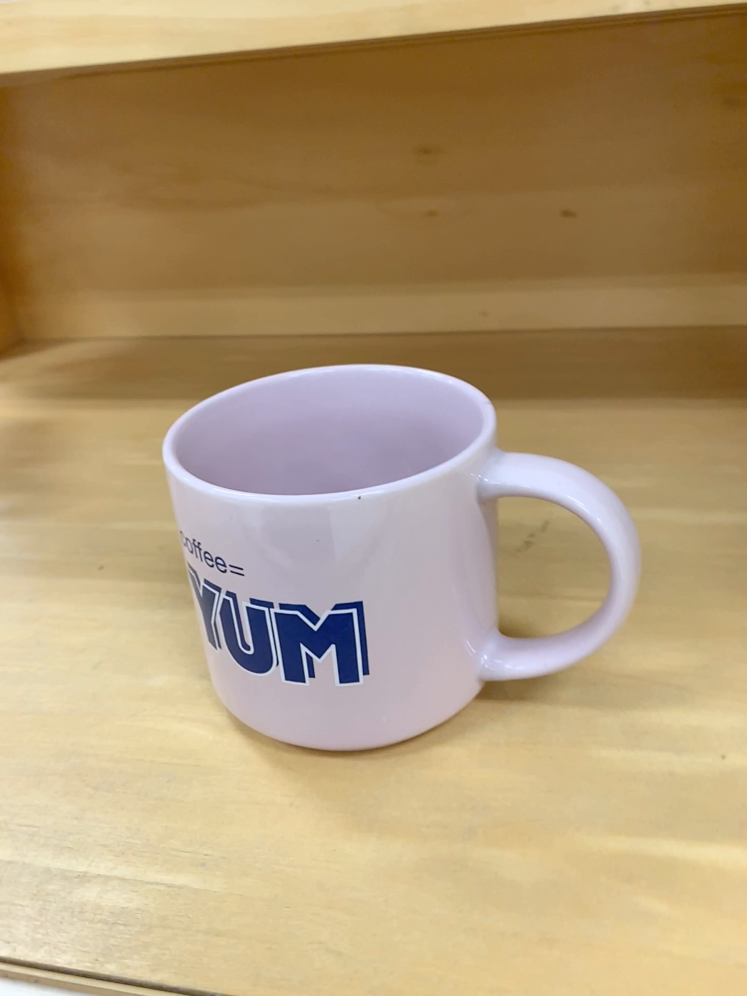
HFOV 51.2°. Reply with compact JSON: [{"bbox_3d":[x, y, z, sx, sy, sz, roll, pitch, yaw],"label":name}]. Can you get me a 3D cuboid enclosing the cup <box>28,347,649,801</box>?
[{"bbox_3d":[0.000,0.011,0.229,0.141,0.082,0.097,3,30,15],"label":"cup"}]
